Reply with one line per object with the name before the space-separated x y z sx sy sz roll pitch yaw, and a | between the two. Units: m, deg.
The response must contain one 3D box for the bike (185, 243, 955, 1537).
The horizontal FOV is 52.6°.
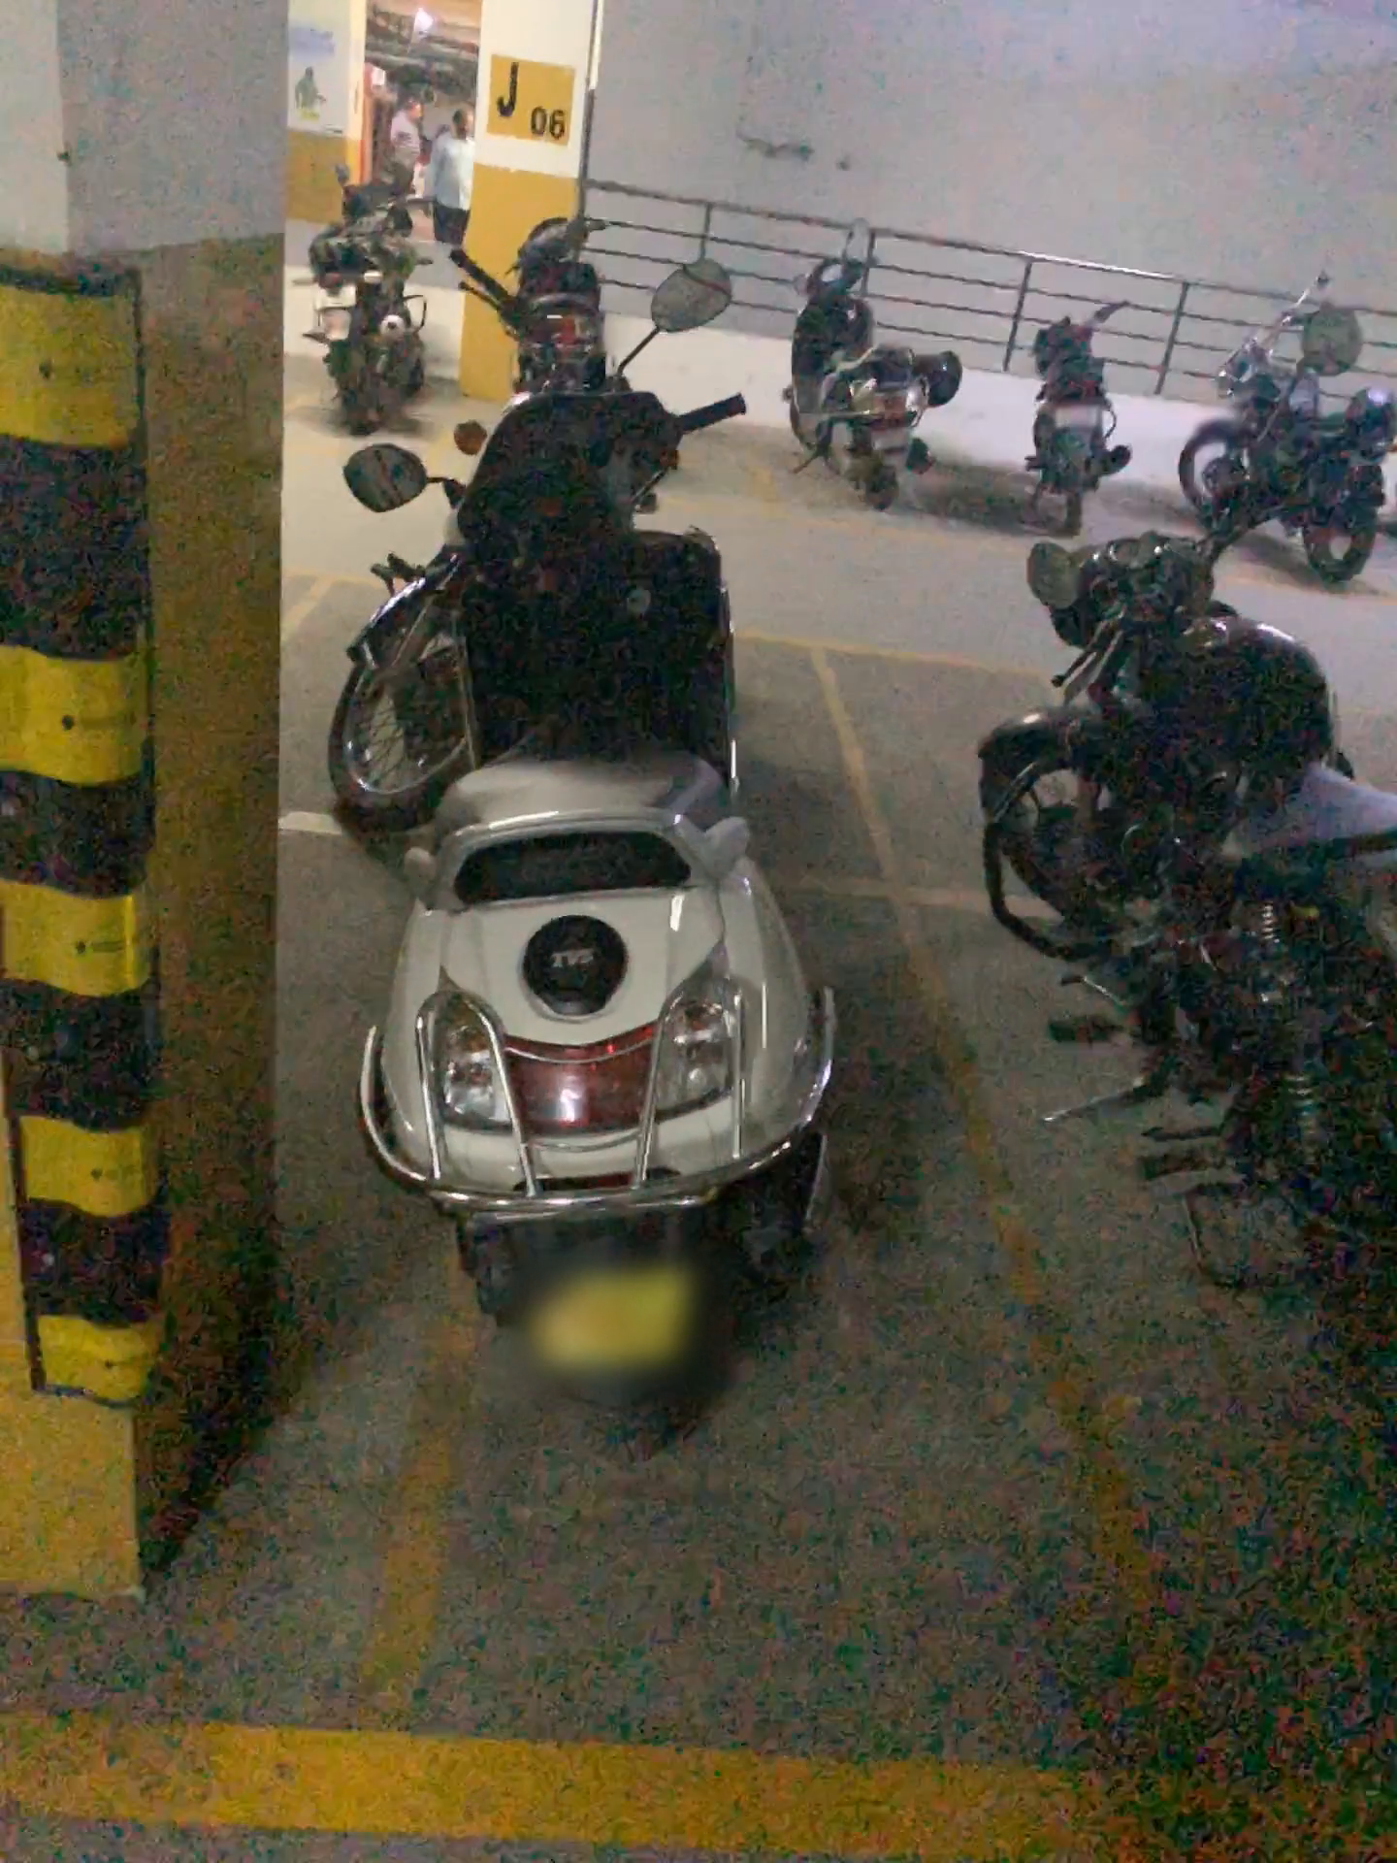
bike | -0.228 -0.222 2.090 0.647 1.158 1.539 6 30 -7
